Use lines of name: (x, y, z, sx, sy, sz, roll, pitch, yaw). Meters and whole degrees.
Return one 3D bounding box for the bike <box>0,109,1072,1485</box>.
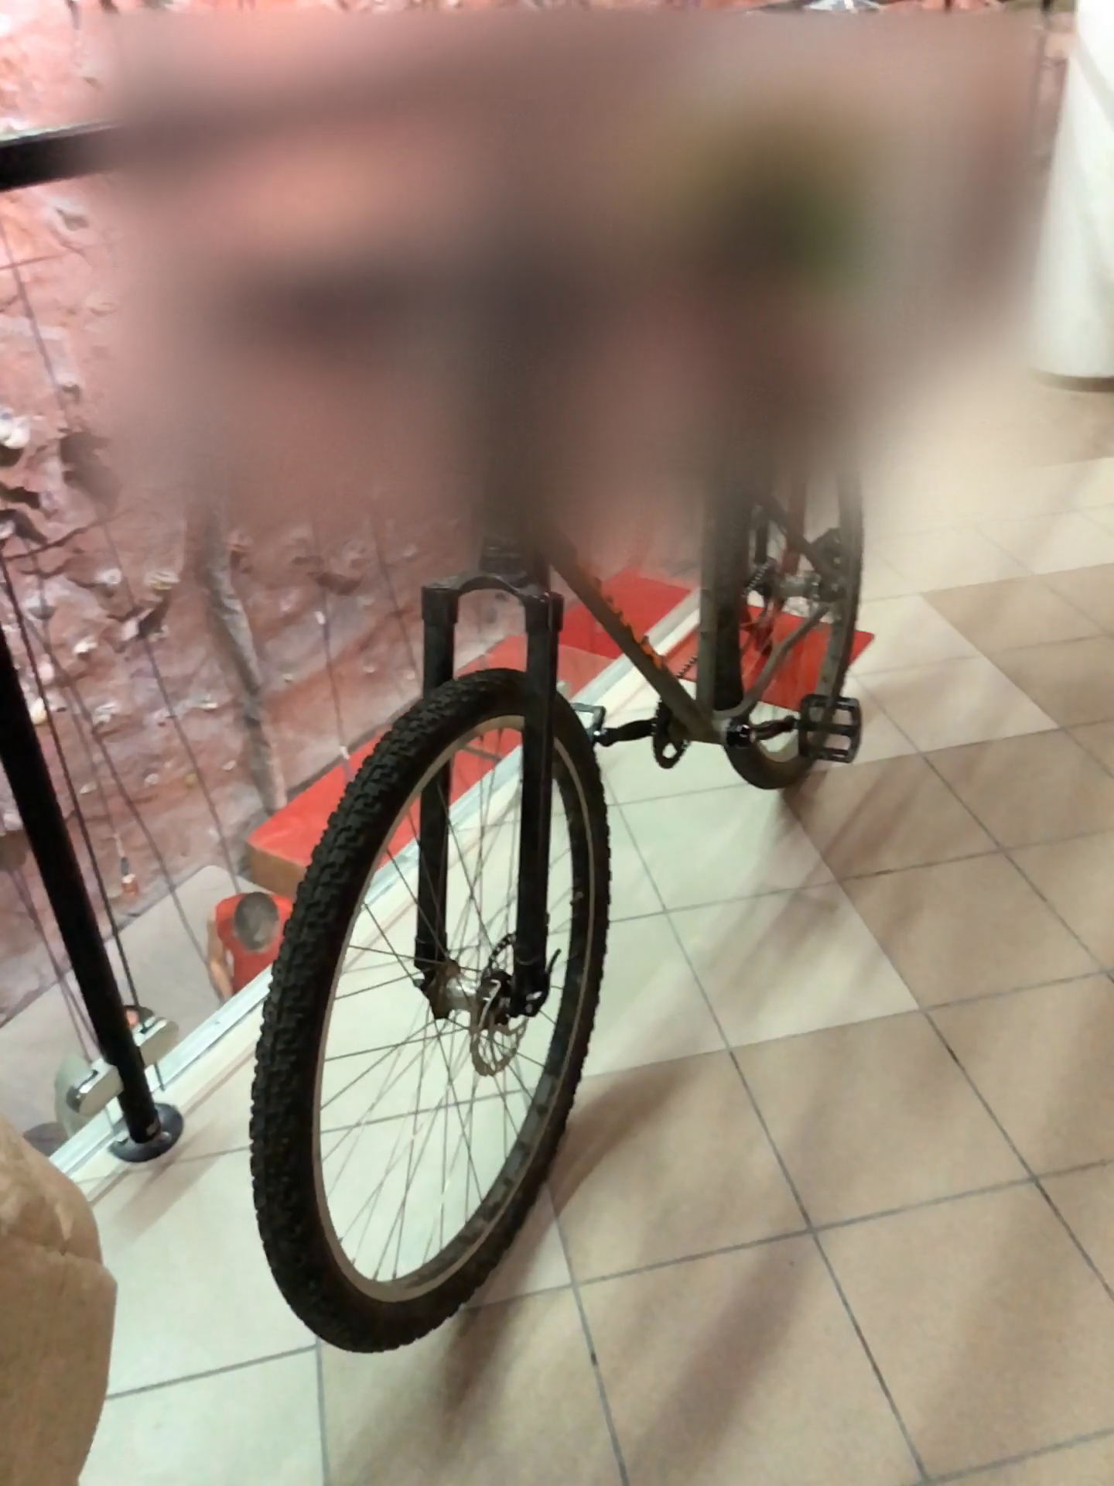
bike: (0.091, -0.209, 1.686, 0.749, 1.099, 1.829, 14, 34, 24)
